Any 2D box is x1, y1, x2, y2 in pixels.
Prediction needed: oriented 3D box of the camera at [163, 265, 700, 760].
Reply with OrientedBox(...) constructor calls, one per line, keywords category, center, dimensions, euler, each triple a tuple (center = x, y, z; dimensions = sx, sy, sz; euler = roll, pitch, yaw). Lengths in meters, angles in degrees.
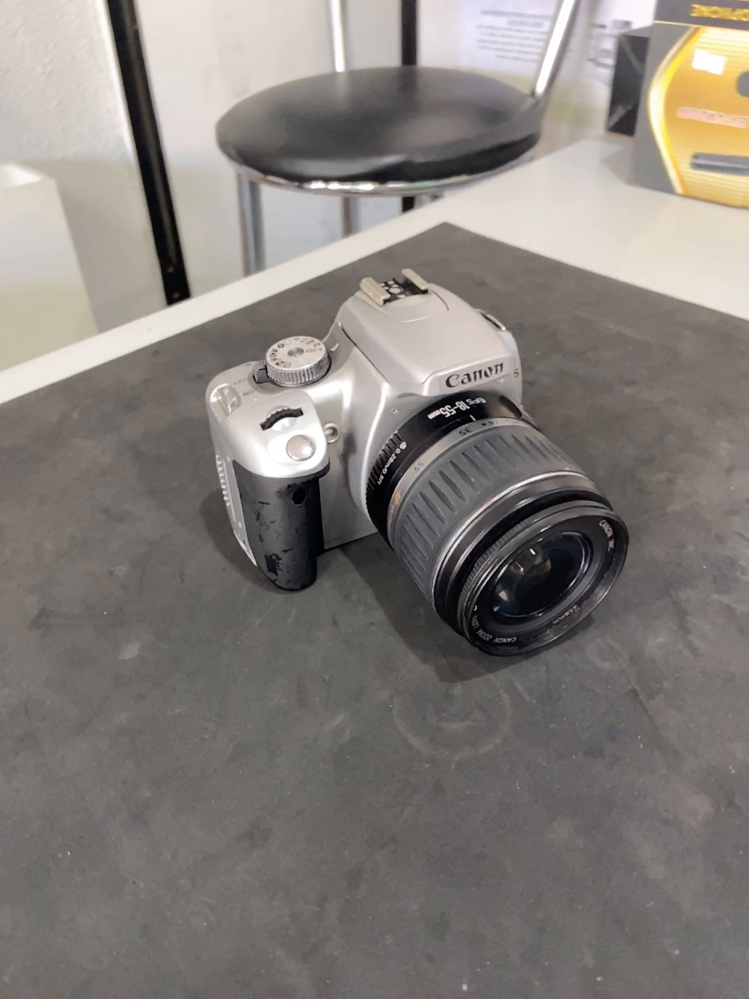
OrientedBox(category="camera", center=(0.011, -0.010, 0.281), dimensions=(0.120, 0.080, 0.141), euler=(-21, 42, -21))
